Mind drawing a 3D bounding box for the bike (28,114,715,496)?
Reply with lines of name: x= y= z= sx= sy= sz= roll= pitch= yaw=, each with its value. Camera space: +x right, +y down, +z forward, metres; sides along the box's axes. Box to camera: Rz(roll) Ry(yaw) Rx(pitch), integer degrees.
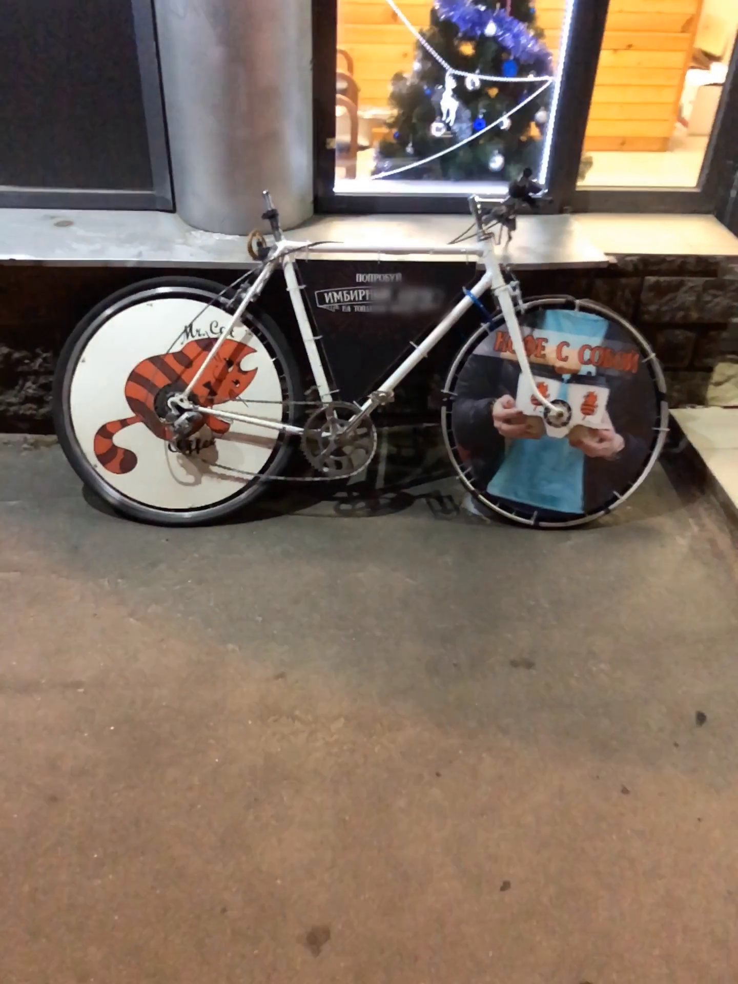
bike: x=0.019 y=-0.550 z=2.342 sx=1.585 sy=0.917 sz=0.572 roll=-1 pitch=35 yaw=-3
